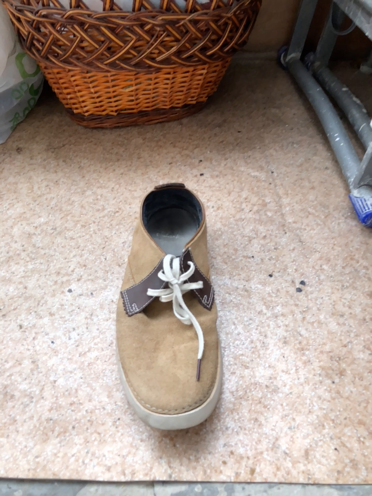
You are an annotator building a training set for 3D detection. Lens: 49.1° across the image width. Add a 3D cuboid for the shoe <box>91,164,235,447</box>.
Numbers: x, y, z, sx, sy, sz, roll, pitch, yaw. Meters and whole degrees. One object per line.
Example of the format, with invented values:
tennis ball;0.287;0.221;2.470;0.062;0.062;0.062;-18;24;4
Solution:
shoe;-0.018;0.040;0.443;0.110;0.089;0.302;-2;49;1
